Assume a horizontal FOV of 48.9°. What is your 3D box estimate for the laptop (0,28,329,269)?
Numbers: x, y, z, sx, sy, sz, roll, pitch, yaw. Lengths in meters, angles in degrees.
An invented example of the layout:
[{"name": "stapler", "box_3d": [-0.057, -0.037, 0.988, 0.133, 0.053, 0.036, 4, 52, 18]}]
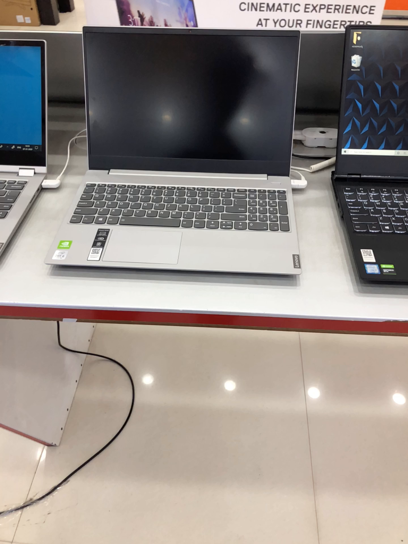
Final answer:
[{"name": "laptop", "box_3d": [-0.032, -0.198, 0.656, 0.341, 0.196, 0.346, 2, 44, 3]}]
